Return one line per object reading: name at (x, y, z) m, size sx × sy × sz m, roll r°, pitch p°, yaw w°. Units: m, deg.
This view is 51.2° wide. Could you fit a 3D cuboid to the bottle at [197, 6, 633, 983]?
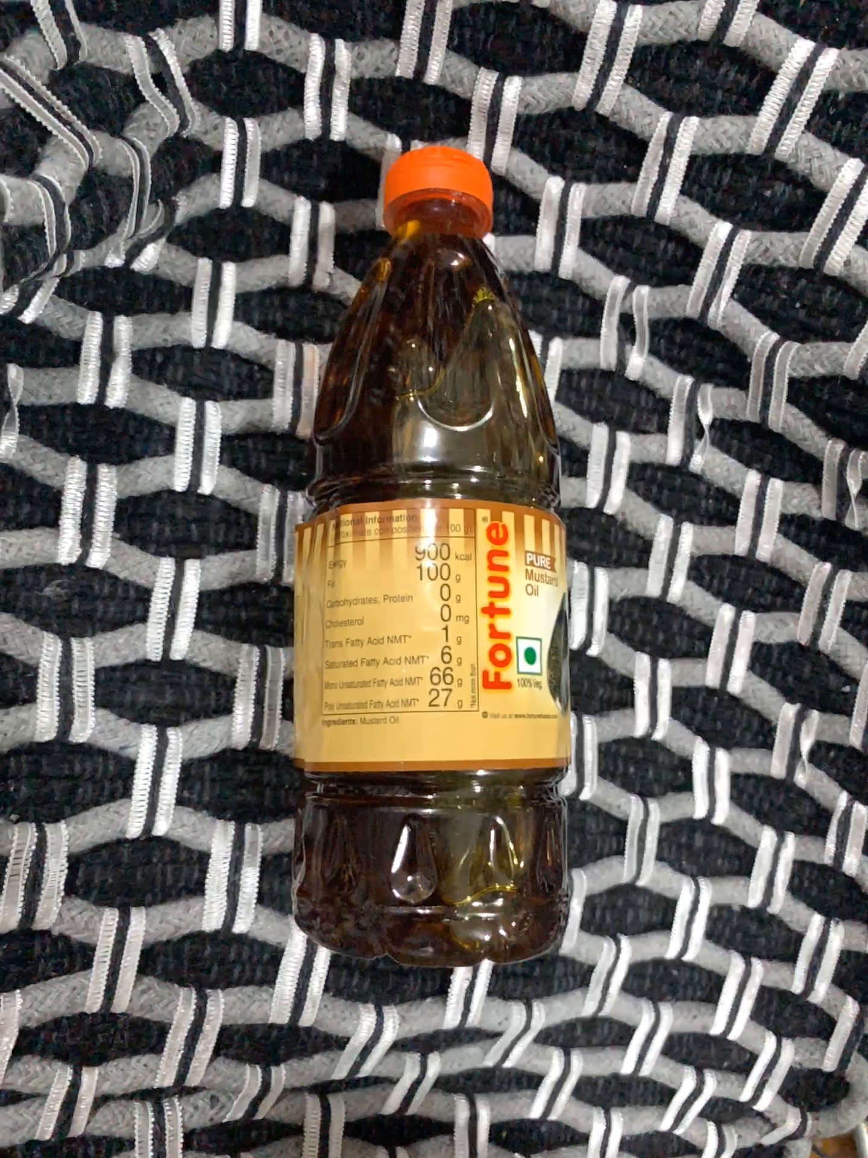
bottle at (-0.002, -0.019, 0.244) m, size 0.080 × 0.080 × 0.220 m, roll -7°, pitch 76°, yaw 22°
